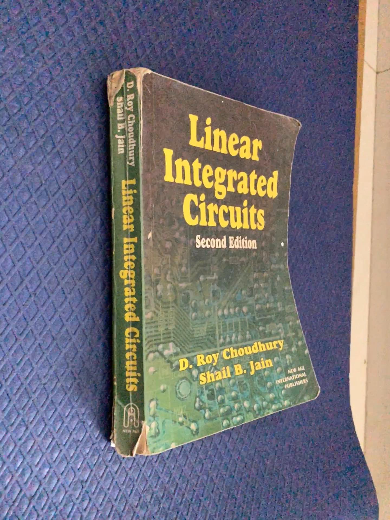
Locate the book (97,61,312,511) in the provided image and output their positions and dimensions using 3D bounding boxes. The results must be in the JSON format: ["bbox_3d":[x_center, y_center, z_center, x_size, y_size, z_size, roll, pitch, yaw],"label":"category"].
[{"bbox_3d":[0.020,0.014,0.322,0.191,0.040,0.270,0,88,-42],"label":"book"}]
